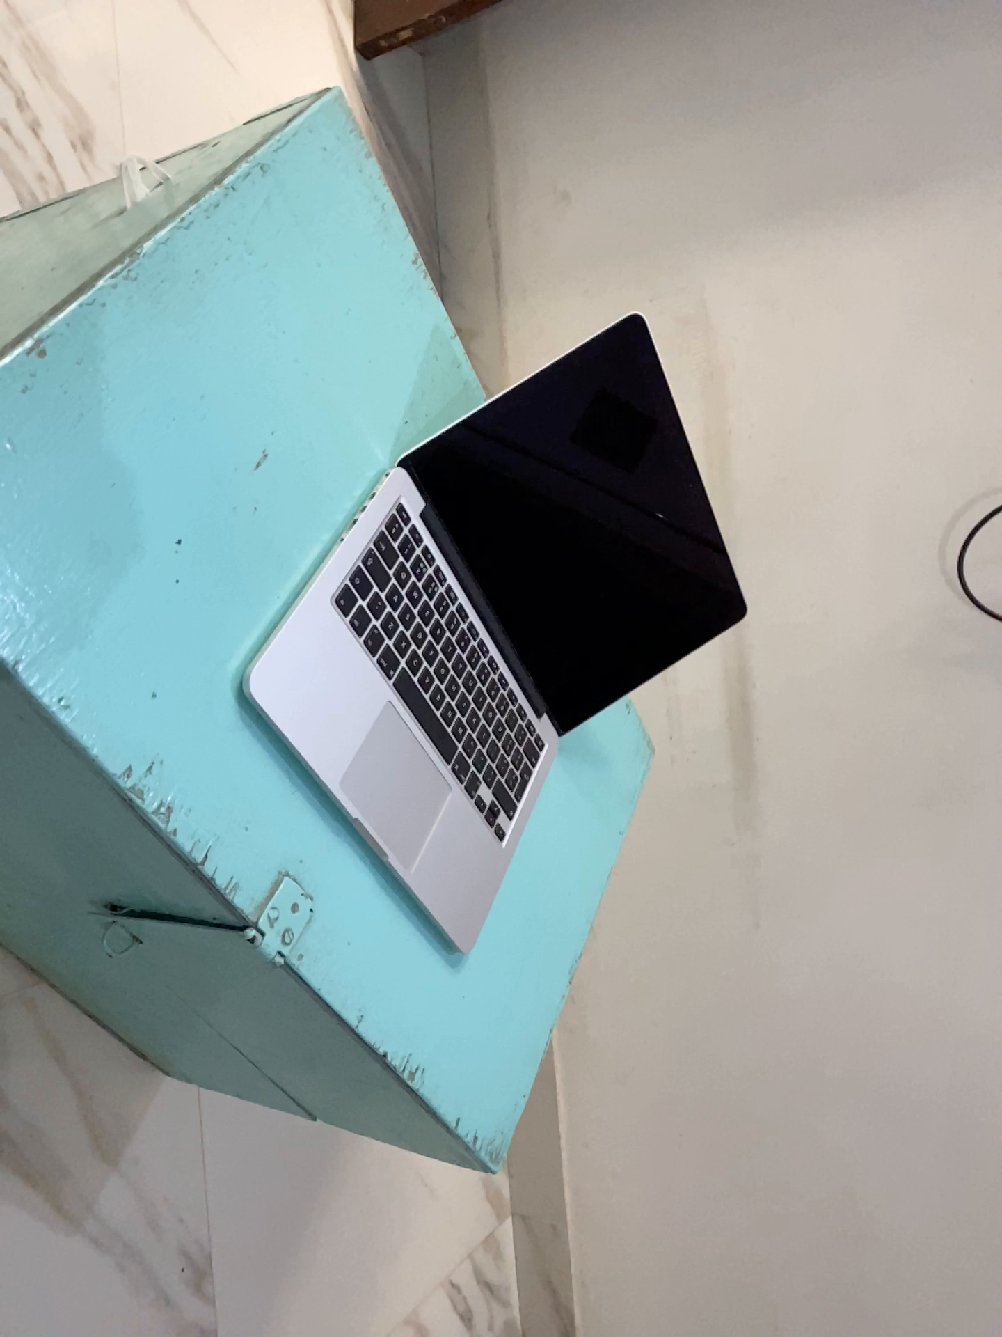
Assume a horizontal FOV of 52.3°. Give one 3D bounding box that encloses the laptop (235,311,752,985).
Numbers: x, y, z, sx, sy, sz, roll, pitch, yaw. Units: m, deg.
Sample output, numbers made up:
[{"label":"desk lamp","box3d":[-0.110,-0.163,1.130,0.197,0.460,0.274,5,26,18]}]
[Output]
[{"label":"laptop","box3d":[0.037,-0.016,0.777,0.314,0.148,0.378,59,43,-37]}]
